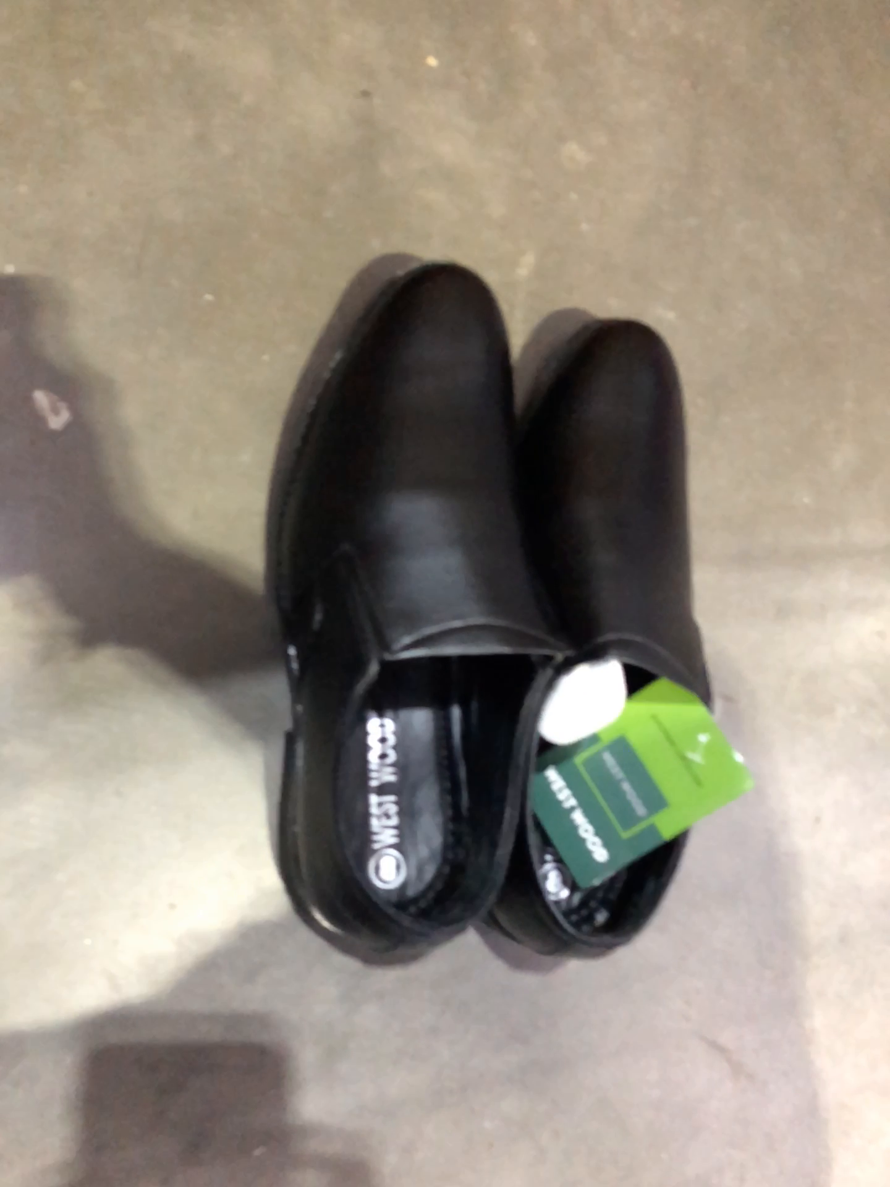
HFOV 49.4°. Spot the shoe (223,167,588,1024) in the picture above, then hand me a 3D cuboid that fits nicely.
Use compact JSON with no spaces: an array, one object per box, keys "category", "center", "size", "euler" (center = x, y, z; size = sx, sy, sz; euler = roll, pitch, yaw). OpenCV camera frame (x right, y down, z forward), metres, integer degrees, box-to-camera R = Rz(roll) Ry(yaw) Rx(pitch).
[{"category":"shoe","center":[-0.020,0.003,0.400],"size":[0.100,0.100,0.300],"euler":[7,85,-19]}]

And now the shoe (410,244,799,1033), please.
[{"category":"shoe","center":[0.068,0.020,0.425],"size":[0.100,0.090,0.300],"euler":[11,84,-19]}]
